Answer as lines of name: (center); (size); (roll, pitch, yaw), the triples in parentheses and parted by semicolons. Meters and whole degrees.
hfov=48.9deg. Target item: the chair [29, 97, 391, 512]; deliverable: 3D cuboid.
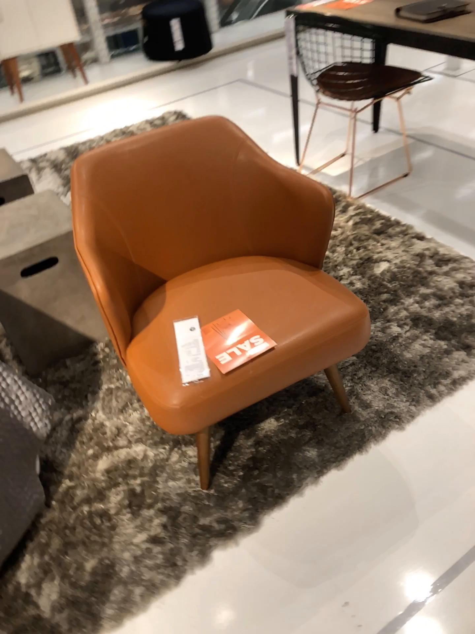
chair: (-0.071, -0.072, 1.390); (0.591, 0.704, 0.654); (-23, 42, -17)
